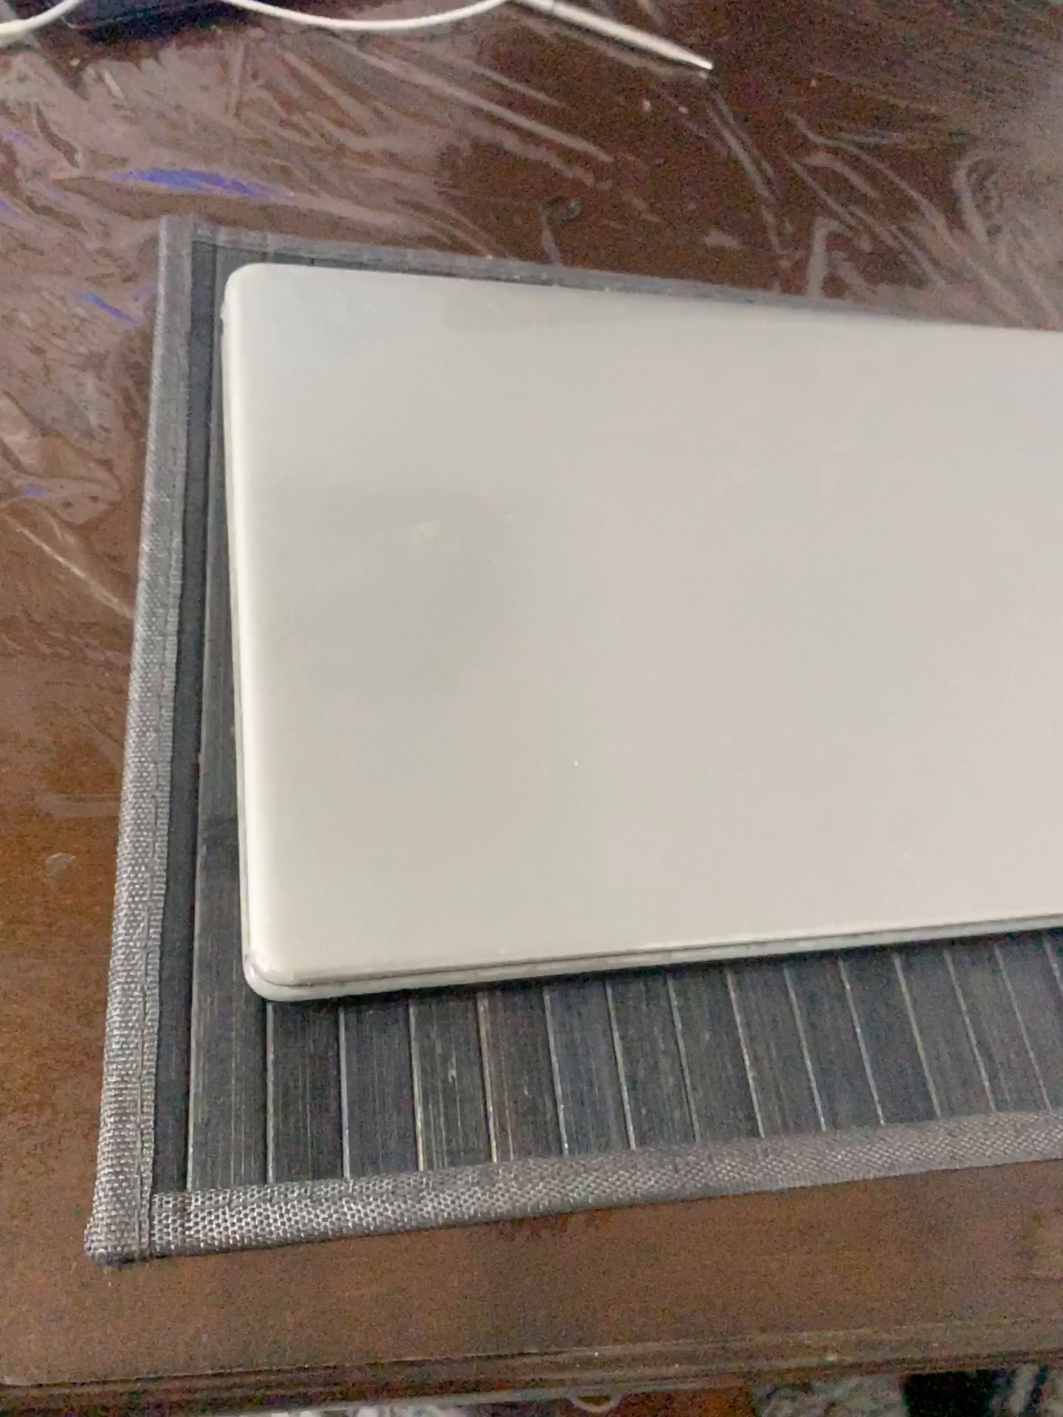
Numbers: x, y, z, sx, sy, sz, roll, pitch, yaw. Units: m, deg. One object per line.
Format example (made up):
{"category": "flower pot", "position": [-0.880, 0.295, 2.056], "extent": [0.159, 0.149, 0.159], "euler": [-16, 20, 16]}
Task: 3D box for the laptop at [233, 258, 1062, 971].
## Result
{"category": "laptop", "position": [0.085, -0.043, 0.342], "extent": [0.335, 0.002, 0.224], "euler": [-1, 61, -18]}
